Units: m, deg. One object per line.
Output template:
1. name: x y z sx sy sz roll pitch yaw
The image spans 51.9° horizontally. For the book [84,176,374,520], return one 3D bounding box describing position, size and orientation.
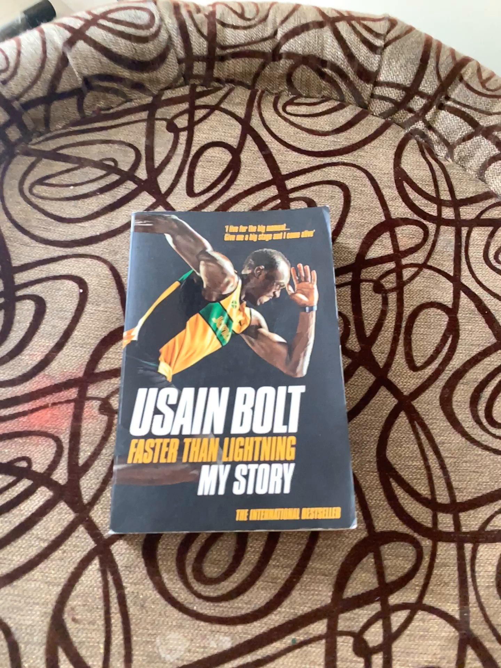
1. book: -0.012 0.000 0.299 0.140 0.030 0.201 -1 69 -1
